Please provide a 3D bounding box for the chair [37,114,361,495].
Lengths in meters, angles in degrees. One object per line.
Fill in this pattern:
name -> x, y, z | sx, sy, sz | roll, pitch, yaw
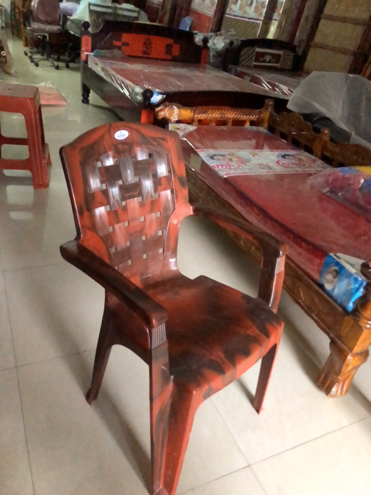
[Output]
chair -> -0.021, 0.145, 1.171 | 0.533, 0.865, 0.560 | -21, 42, -41
